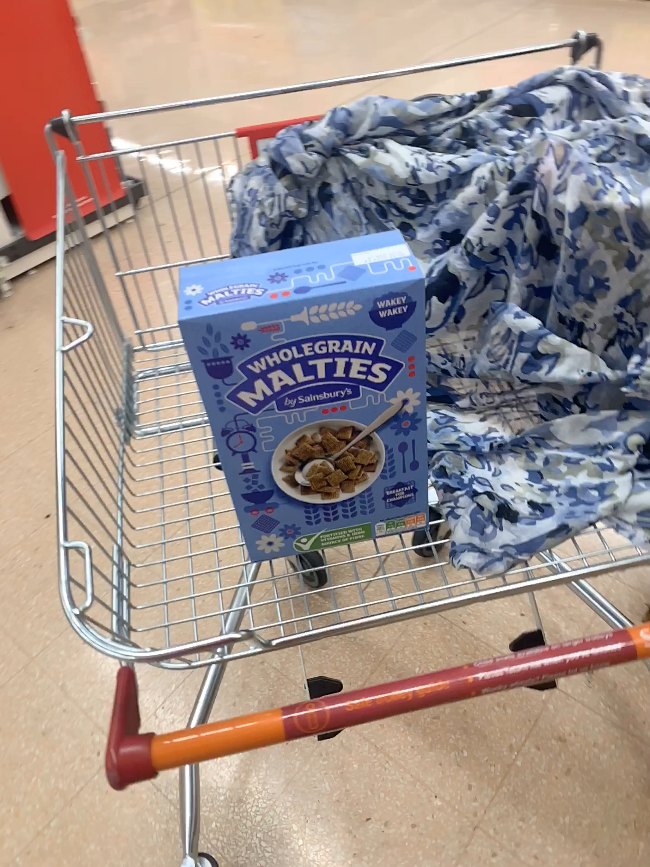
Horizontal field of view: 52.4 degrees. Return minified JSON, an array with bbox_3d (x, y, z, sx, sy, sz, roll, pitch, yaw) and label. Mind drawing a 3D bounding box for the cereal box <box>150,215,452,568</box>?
[{"bbox_3d":[-0.010,-0.025,0.599,0.220,0.287,0.091,-11,41,-5],"label":"cereal box"}]
